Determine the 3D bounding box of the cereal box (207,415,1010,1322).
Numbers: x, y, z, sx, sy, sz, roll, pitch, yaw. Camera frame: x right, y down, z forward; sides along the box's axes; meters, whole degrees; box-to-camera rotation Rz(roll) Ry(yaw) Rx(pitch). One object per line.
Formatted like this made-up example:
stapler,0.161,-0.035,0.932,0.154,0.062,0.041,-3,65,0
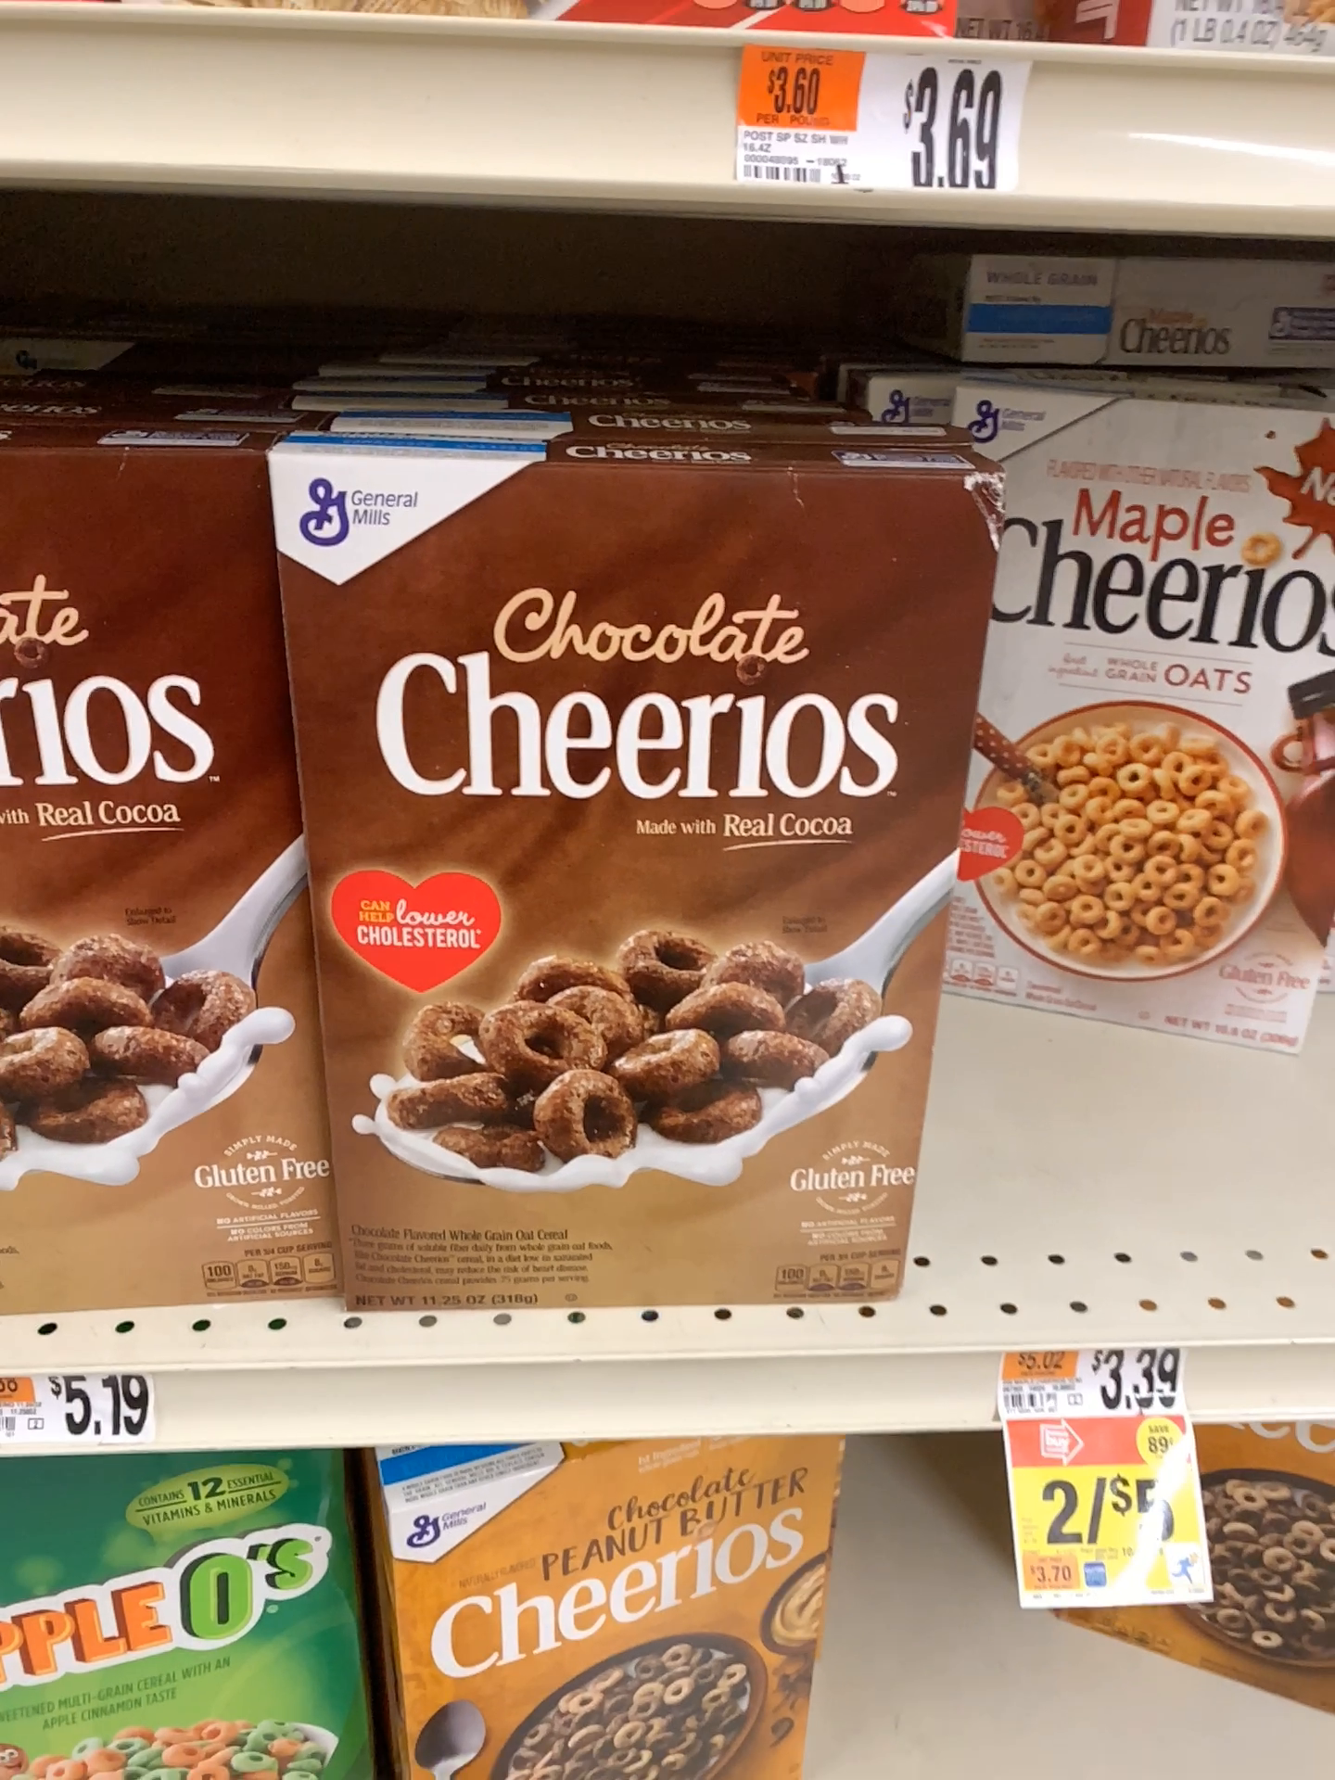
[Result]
cereal box,-0.020,0.007,0.452,0.210,0.298,0.060,1,27,-3
